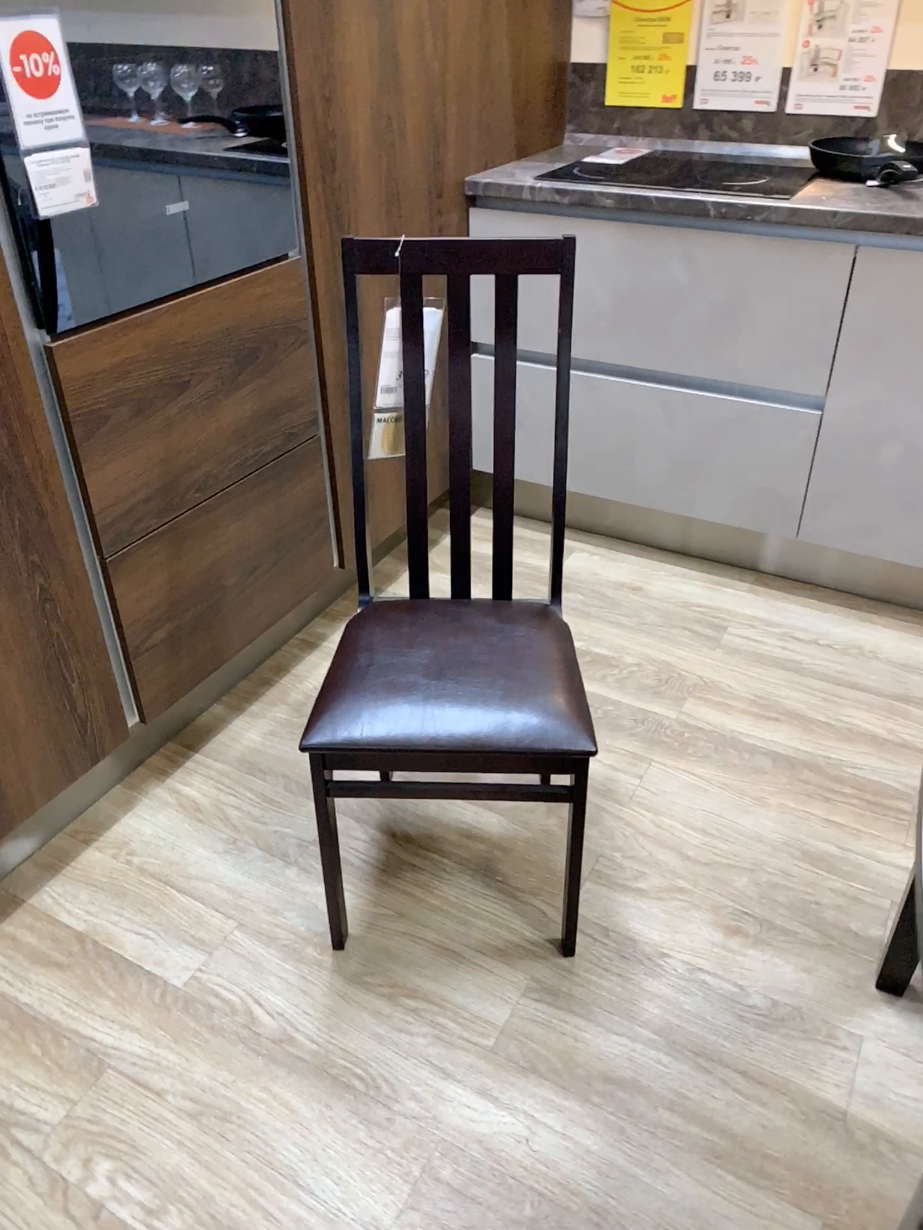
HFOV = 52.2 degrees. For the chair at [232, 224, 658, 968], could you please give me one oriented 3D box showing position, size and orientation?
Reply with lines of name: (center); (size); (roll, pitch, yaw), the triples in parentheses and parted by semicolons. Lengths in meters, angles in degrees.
chair: (-0.001, -0.006, 1.450); (0.430, 1.014, 0.523); (1, 34, 3)
